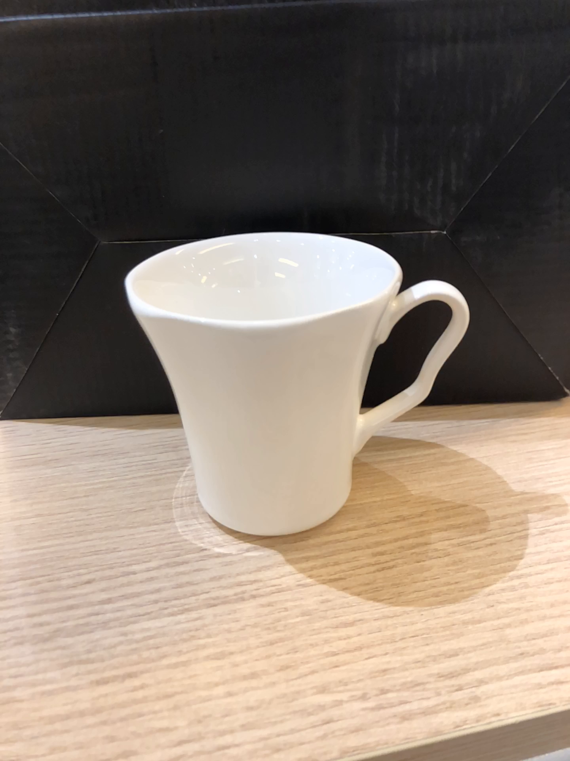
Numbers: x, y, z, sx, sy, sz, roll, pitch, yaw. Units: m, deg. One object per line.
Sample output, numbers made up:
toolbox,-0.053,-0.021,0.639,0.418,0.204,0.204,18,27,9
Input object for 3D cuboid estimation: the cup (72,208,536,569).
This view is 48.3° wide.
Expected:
cup,0.004,-0.003,0.204,0.110,0.079,0.081,-4,28,-2
